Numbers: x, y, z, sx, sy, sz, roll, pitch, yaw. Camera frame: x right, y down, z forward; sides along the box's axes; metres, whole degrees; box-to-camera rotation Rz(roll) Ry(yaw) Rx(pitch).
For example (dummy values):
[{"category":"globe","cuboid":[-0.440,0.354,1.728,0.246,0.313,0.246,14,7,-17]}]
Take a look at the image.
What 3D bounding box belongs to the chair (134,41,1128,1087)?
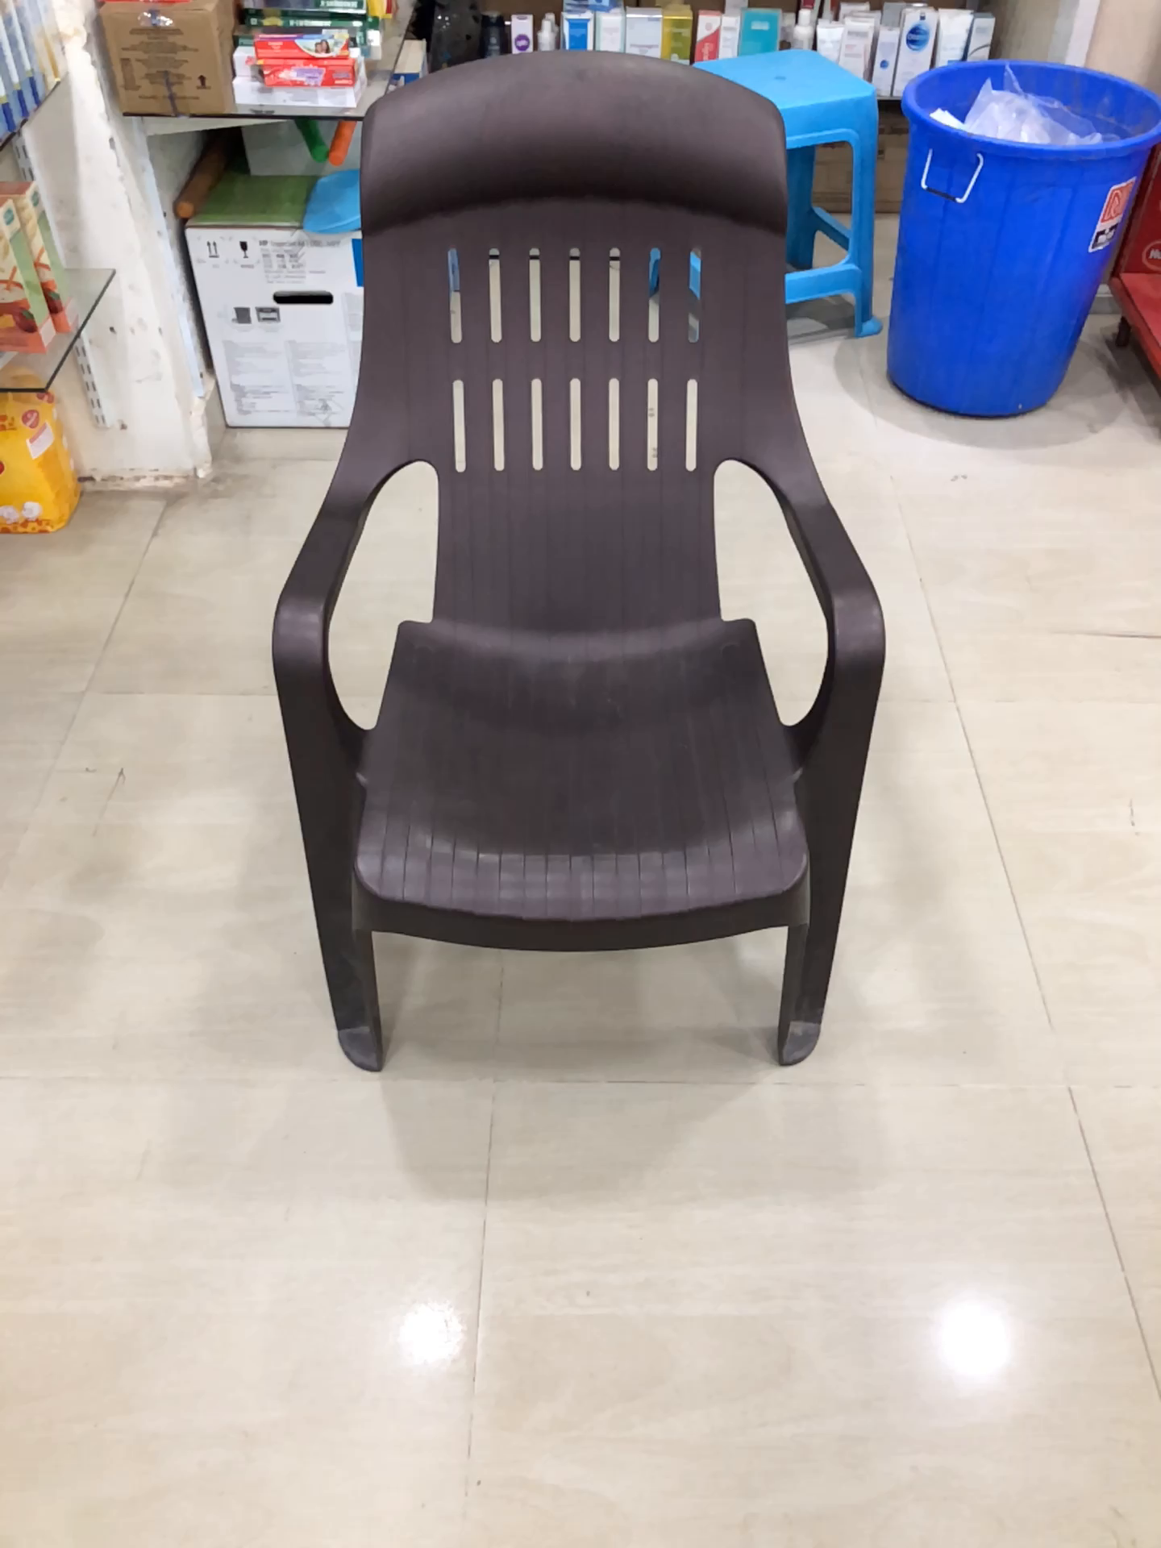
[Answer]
[{"category":"chair","cuboid":[0.025,-0.204,1.345,0.630,0.844,0.684,-1,44,-1]}]
